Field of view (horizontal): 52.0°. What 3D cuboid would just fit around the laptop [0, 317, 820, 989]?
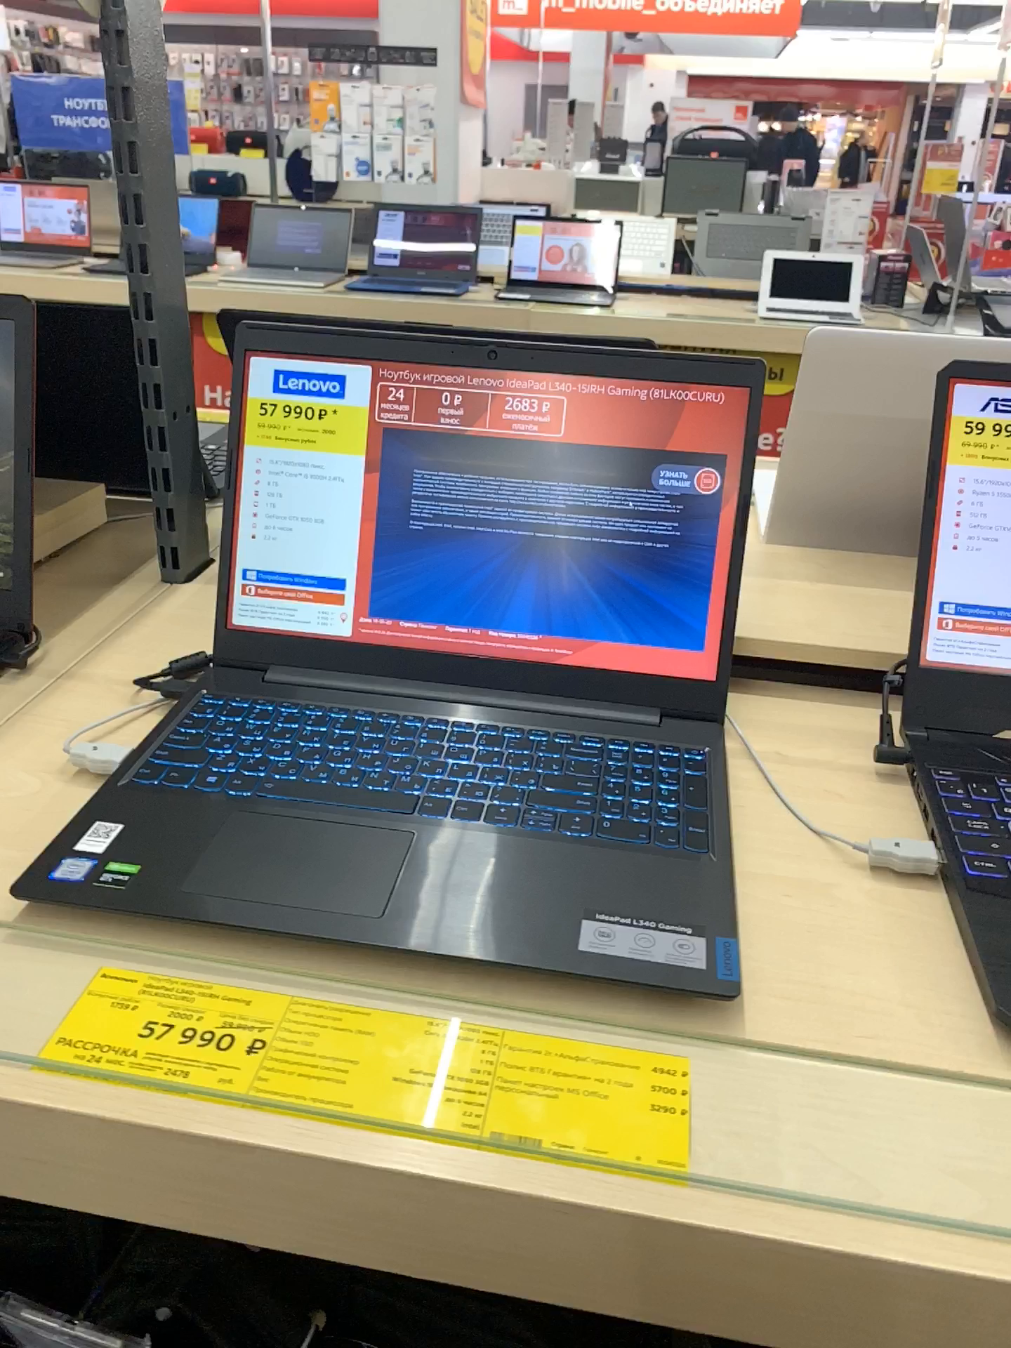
[{"bbox_3d":[-0.038,-0.052,0.608,0.357,0.223,0.349,6,28,7],"label":"laptop"}]
